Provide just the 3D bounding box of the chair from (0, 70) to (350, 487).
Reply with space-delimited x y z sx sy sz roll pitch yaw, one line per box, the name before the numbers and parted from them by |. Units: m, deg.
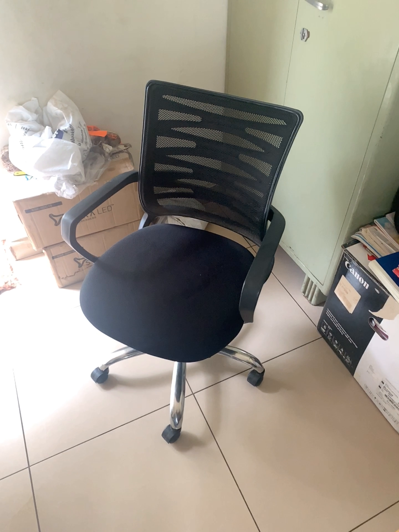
chair | -0.063 0.064 1.288 0.681 0.996 0.651 19 49 18
